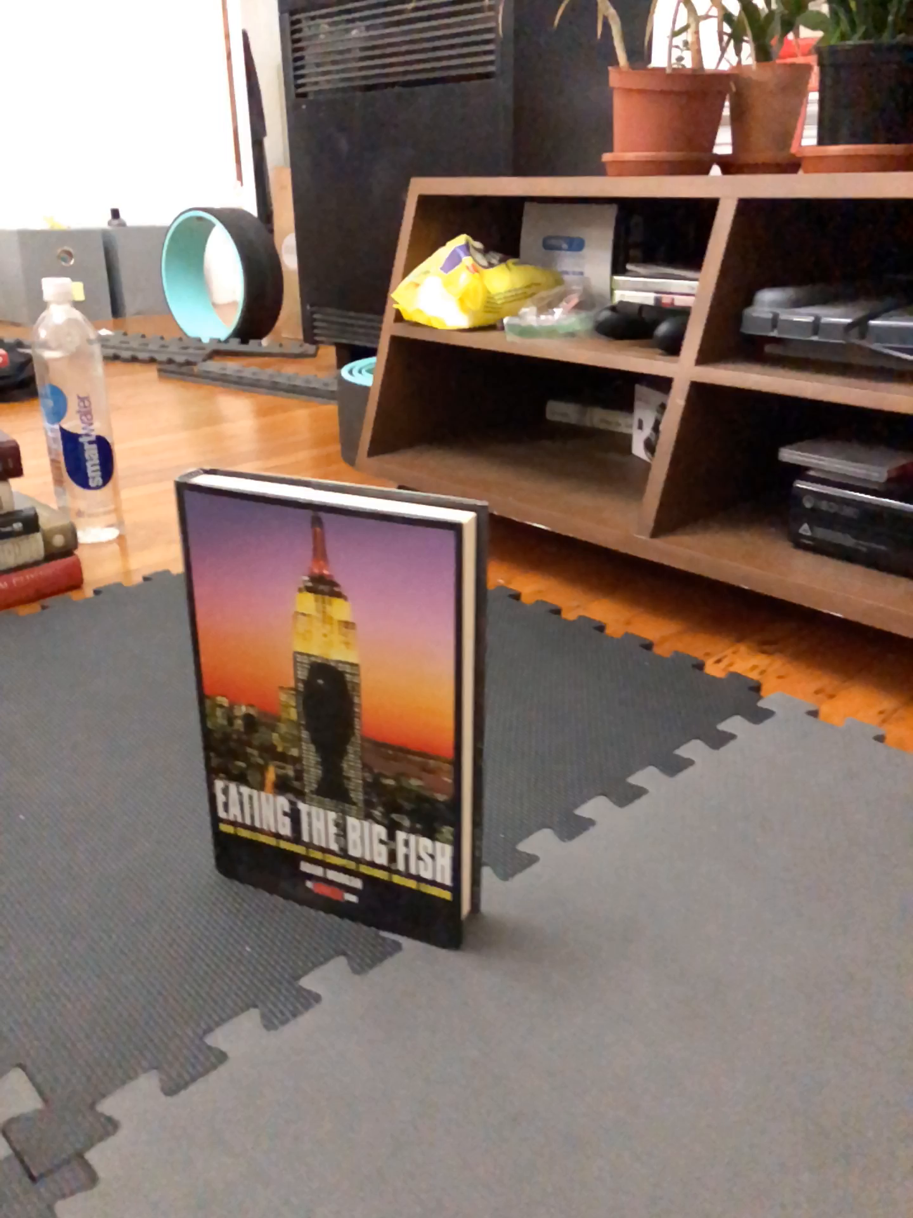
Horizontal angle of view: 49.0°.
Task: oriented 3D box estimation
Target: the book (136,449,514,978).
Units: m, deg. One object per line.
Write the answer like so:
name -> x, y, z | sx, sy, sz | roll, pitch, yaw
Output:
book -> -0.064, 0.055, 0.535 | 0.180, 0.259, 0.050 | 9, 25, 21
